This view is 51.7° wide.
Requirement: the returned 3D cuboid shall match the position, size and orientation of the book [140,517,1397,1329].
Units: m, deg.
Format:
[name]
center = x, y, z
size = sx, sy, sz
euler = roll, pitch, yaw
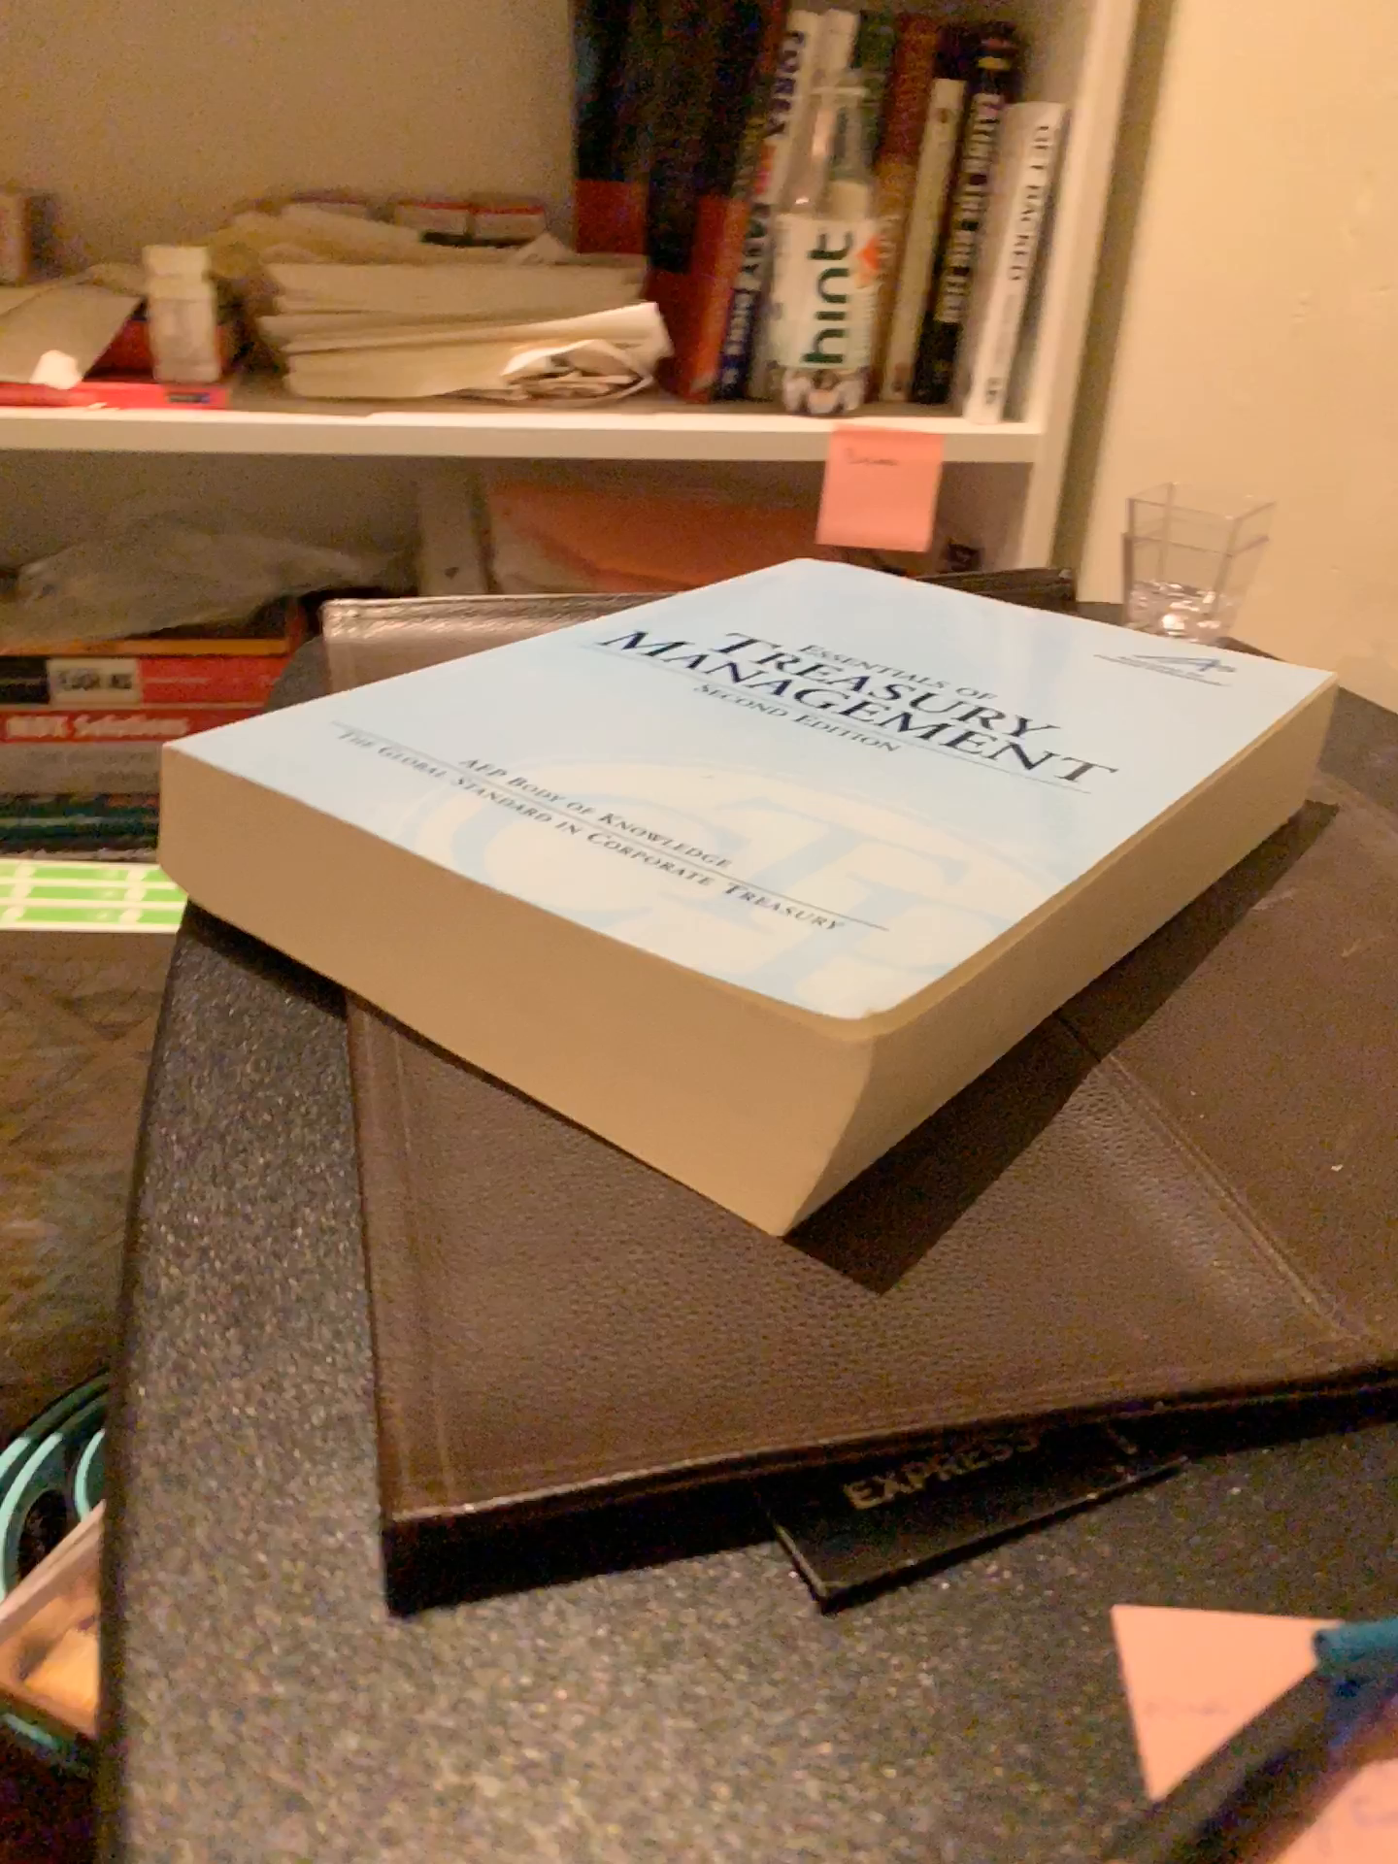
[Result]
[book]
center = 0.045, -0.045, 0.403
size = 0.221, 0.060, 0.301
euler = 23, 34, 33
